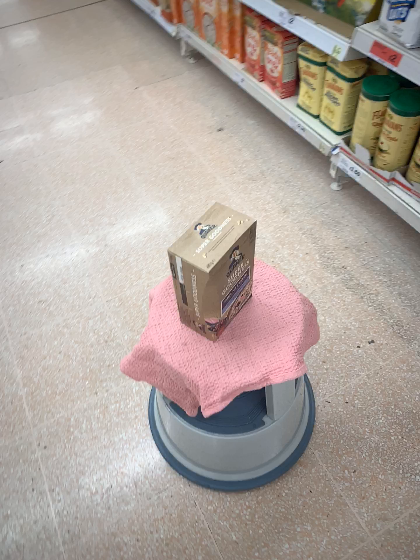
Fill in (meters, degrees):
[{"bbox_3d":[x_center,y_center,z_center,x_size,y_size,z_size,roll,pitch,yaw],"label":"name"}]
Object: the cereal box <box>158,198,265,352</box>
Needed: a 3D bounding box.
[{"bbox_3d":[0.010,-0.004,0.735,0.100,0.208,0.141,29,59,23],"label":"cereal box"}]
